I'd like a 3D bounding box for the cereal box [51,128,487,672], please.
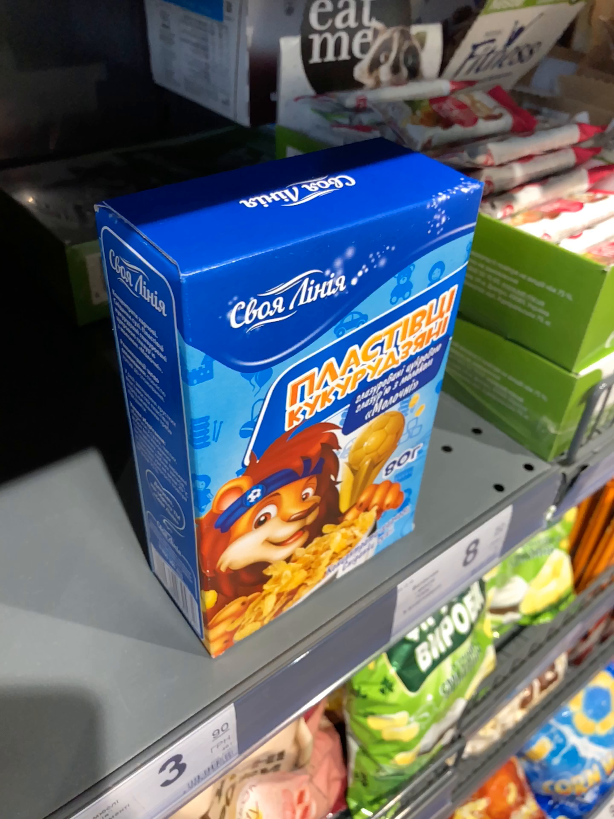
[{"bbox_3d":[-0.012,-0.002,0.261,0.121,0.169,0.060,-25,47,-32],"label":"cereal box"}]
